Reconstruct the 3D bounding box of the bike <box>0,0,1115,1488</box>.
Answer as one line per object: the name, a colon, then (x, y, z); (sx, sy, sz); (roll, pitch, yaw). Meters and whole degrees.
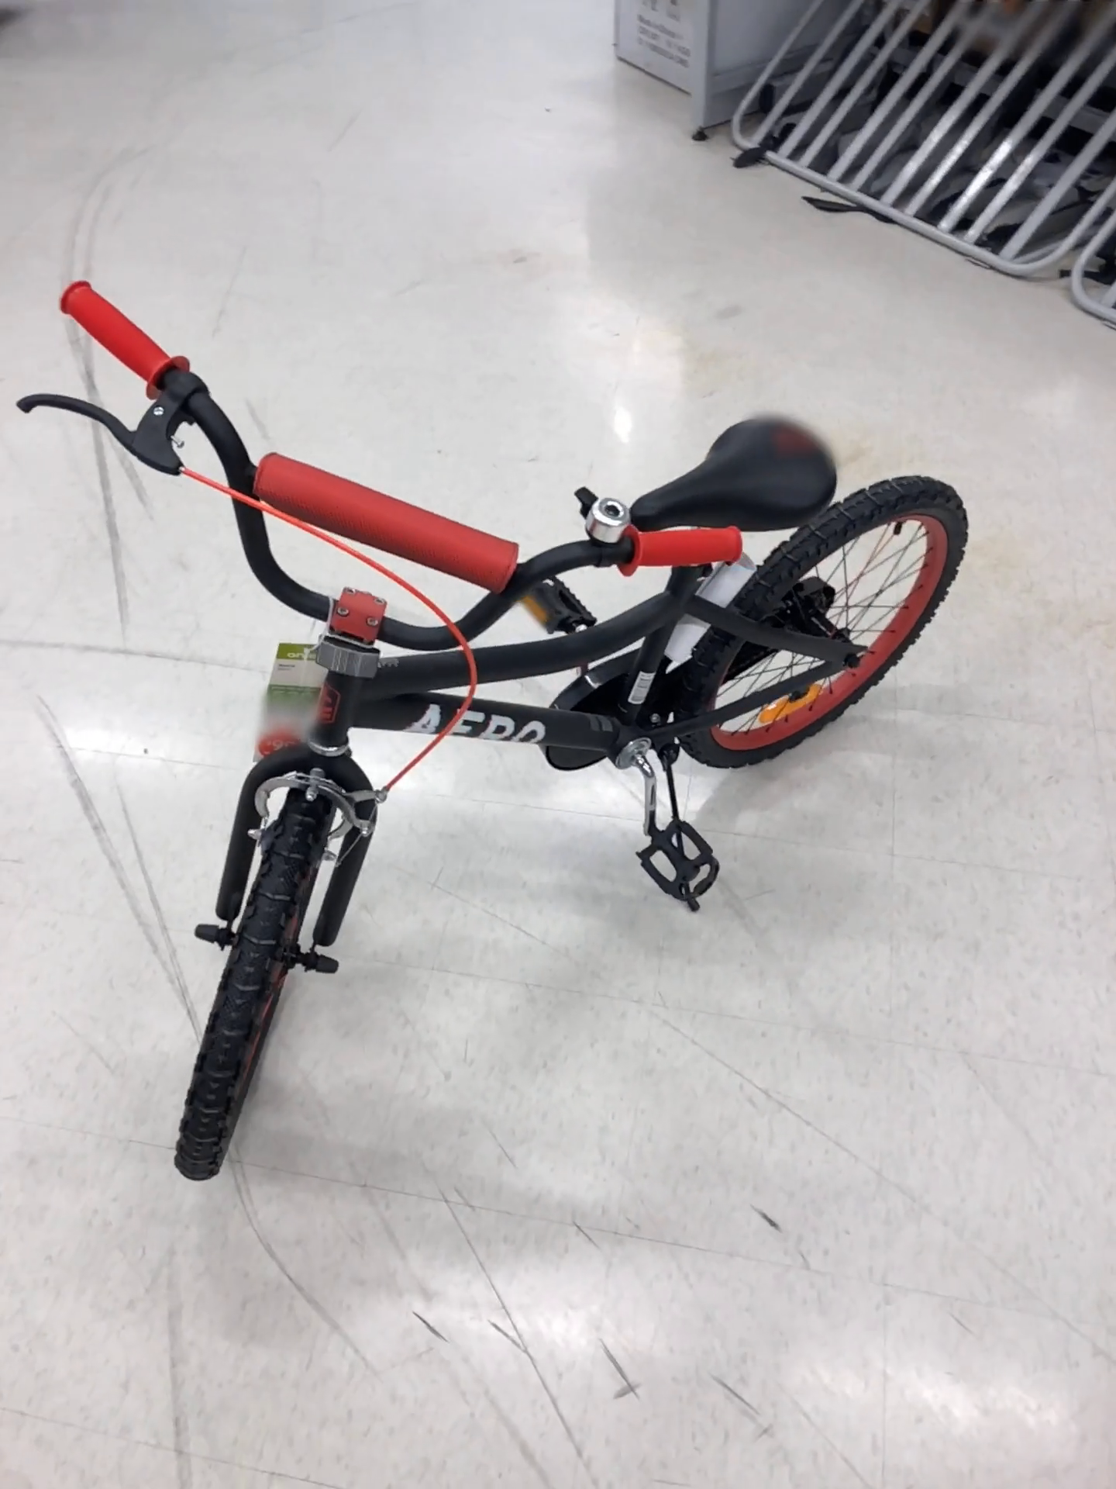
bike: (0.115, -0.081, 1.286); (1.249, 0.925, 0.626); (-36, 55, -26)
